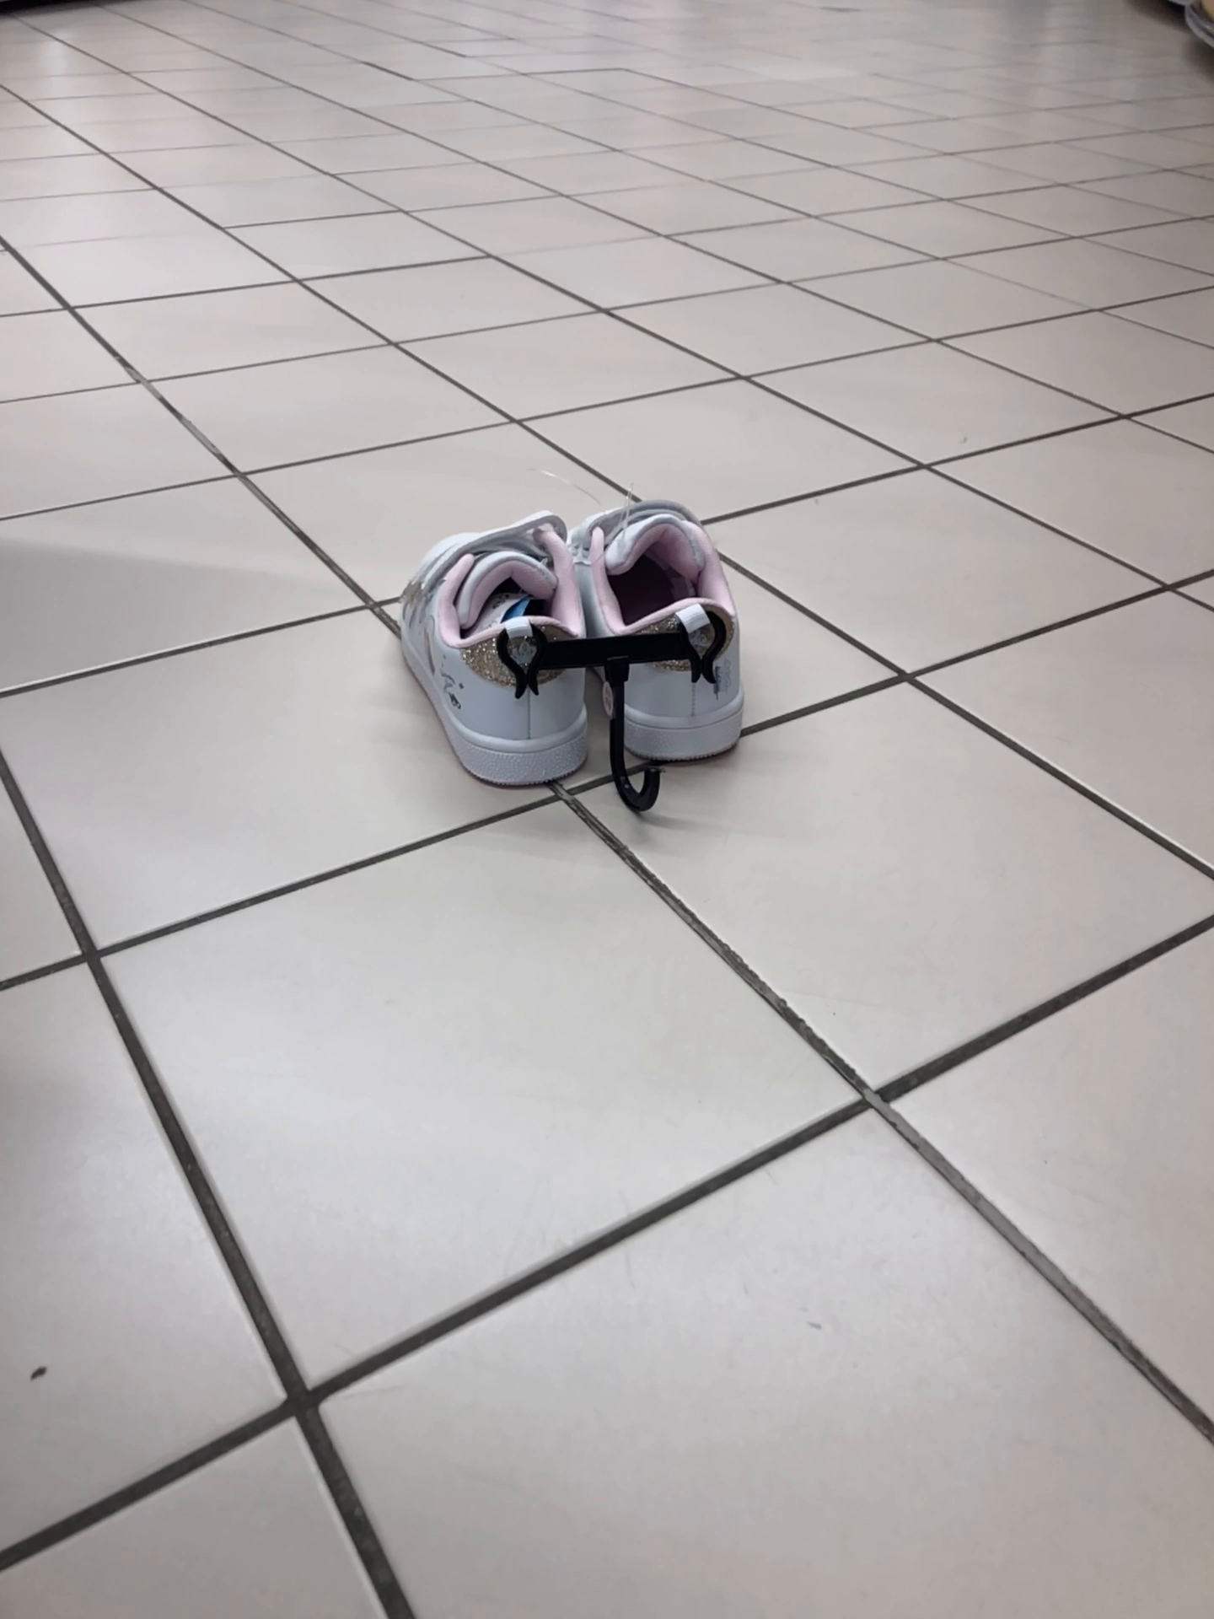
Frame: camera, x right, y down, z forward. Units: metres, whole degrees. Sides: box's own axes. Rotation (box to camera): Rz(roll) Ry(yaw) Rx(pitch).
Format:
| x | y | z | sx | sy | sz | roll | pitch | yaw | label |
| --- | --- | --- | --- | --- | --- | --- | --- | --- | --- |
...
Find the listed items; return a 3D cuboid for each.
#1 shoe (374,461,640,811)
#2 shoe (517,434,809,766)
| x | y | z | sx | sy | sz | roll | pitch | yaw | label |
| --- | --- | --- | --- | --- | --- | --- | --- | --- | --- |
| -0.053 | -0.091 | 0.626 | 0.080 | 0.070 | 0.201 | -8 | 37 | -14 | shoe |
| 0.018 | -0.110 | 0.646 | 0.080 | 0.070 | 0.201 | -8 | 37 | -14 | shoe |
